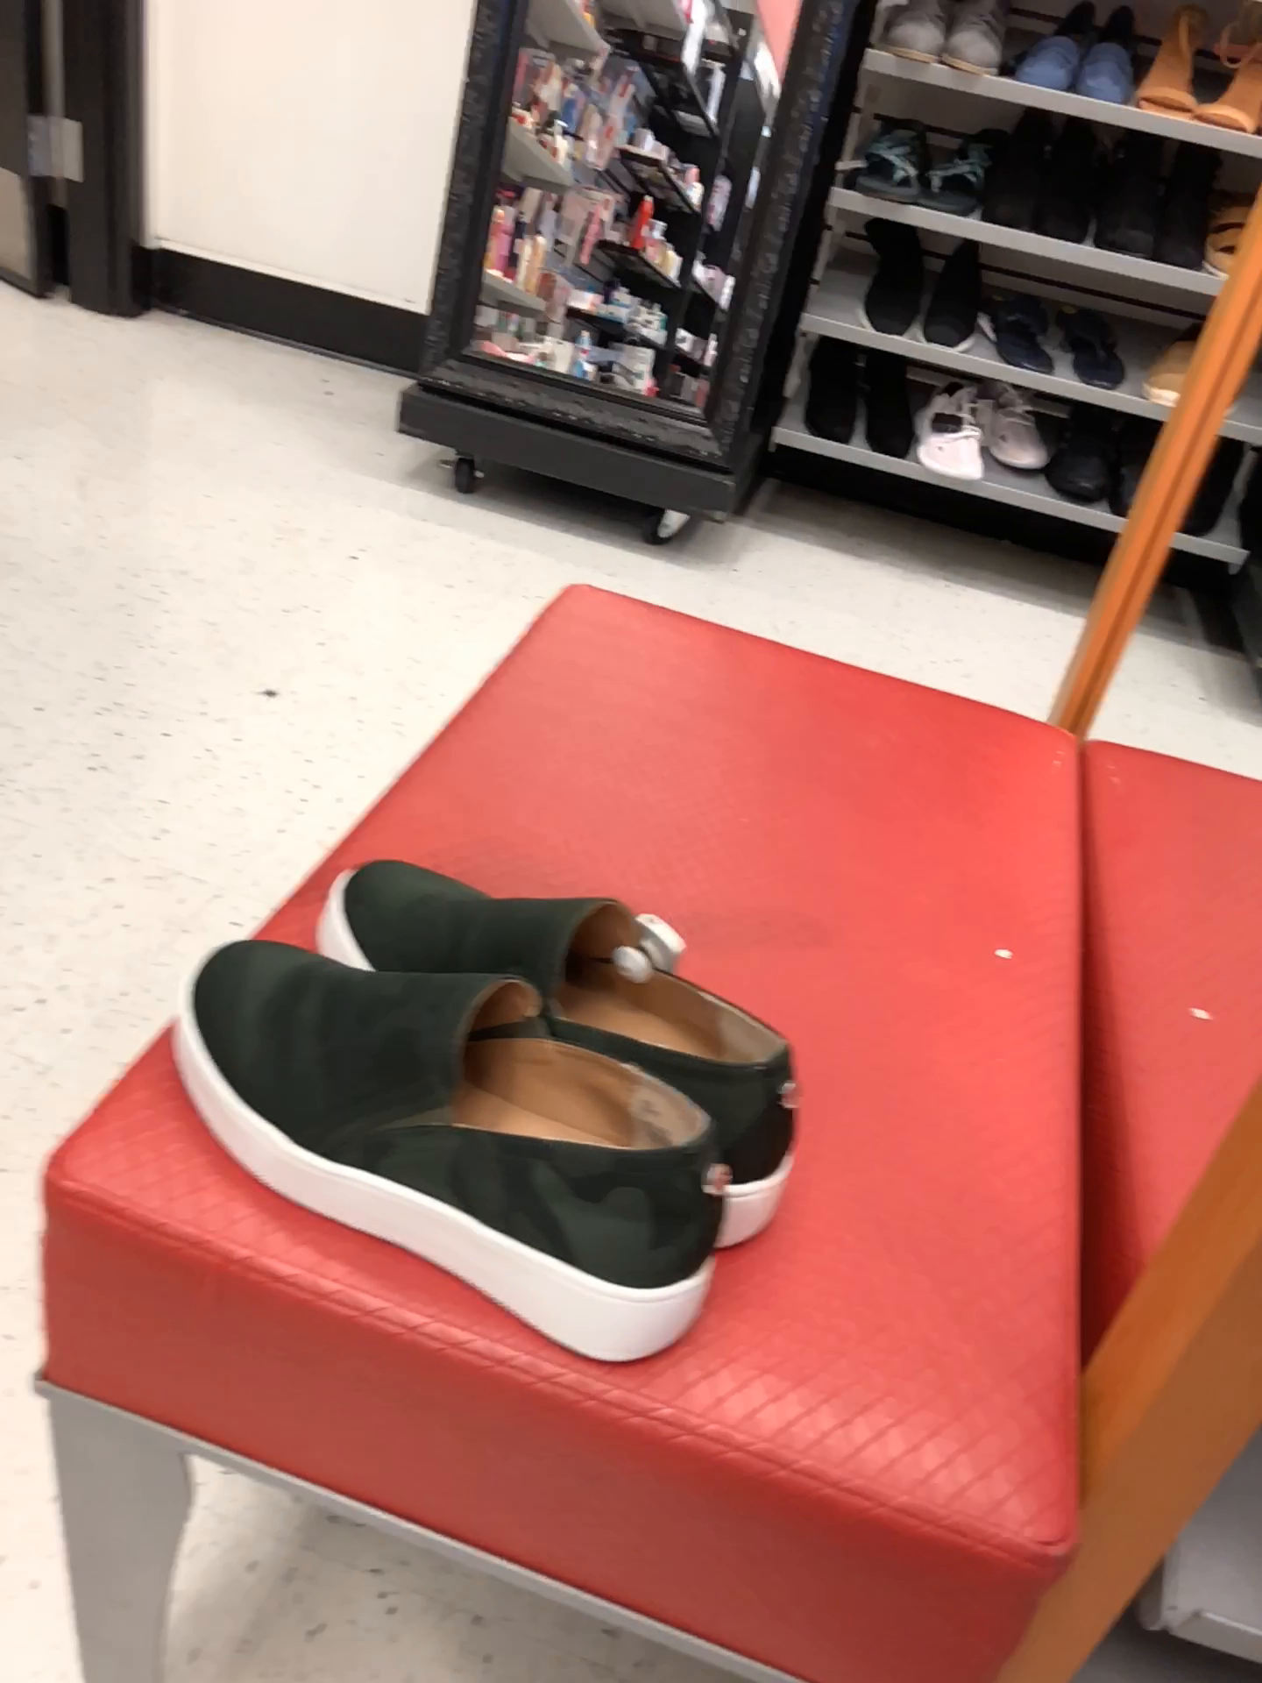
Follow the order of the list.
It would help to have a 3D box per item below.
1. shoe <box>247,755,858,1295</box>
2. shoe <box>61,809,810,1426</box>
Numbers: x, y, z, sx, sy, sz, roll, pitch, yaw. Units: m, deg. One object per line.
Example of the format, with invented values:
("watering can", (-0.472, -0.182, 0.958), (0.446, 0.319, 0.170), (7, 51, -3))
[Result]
("shoe", (-0.047, 0.069, 0.614), (0.277, 0.086, 0.077), (30, 36, 26))
("shoe", (-0.084, 0.097, 0.555), (0.277, 0.086, 0.105), (24, 34, 18))
